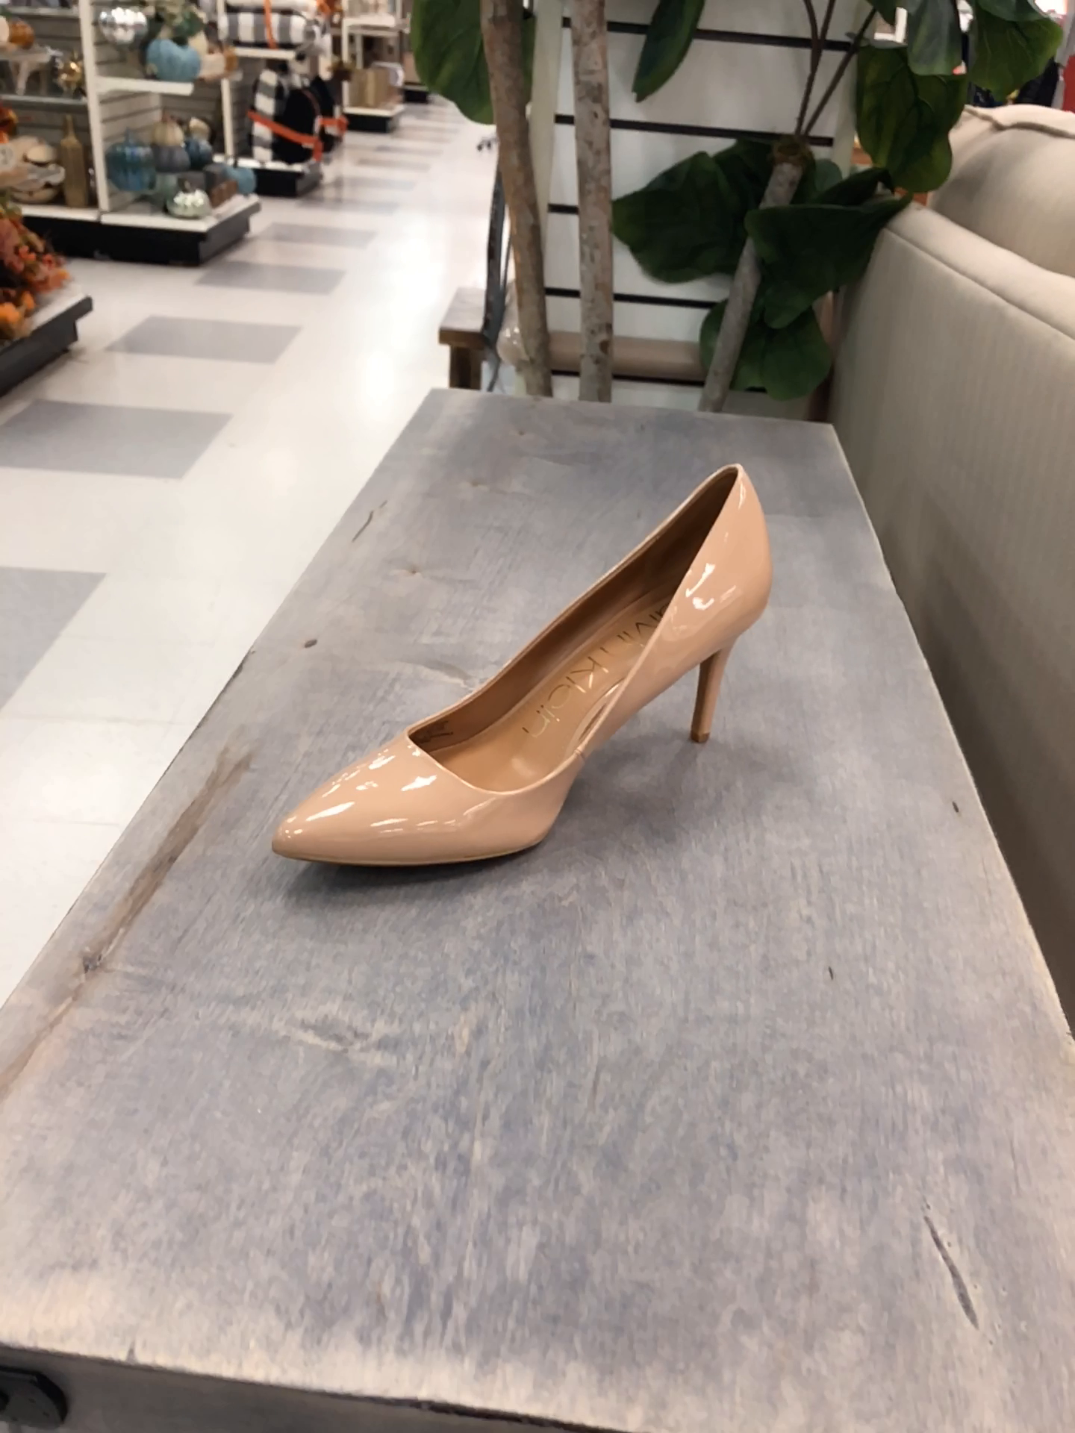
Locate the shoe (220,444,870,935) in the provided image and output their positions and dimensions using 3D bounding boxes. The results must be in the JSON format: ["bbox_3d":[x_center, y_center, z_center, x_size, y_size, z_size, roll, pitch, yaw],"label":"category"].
[{"bbox_3d":[0.010,-0.028,0.525,0.268,0.129,0.096,-17,36,-33],"label":"shoe"}]
